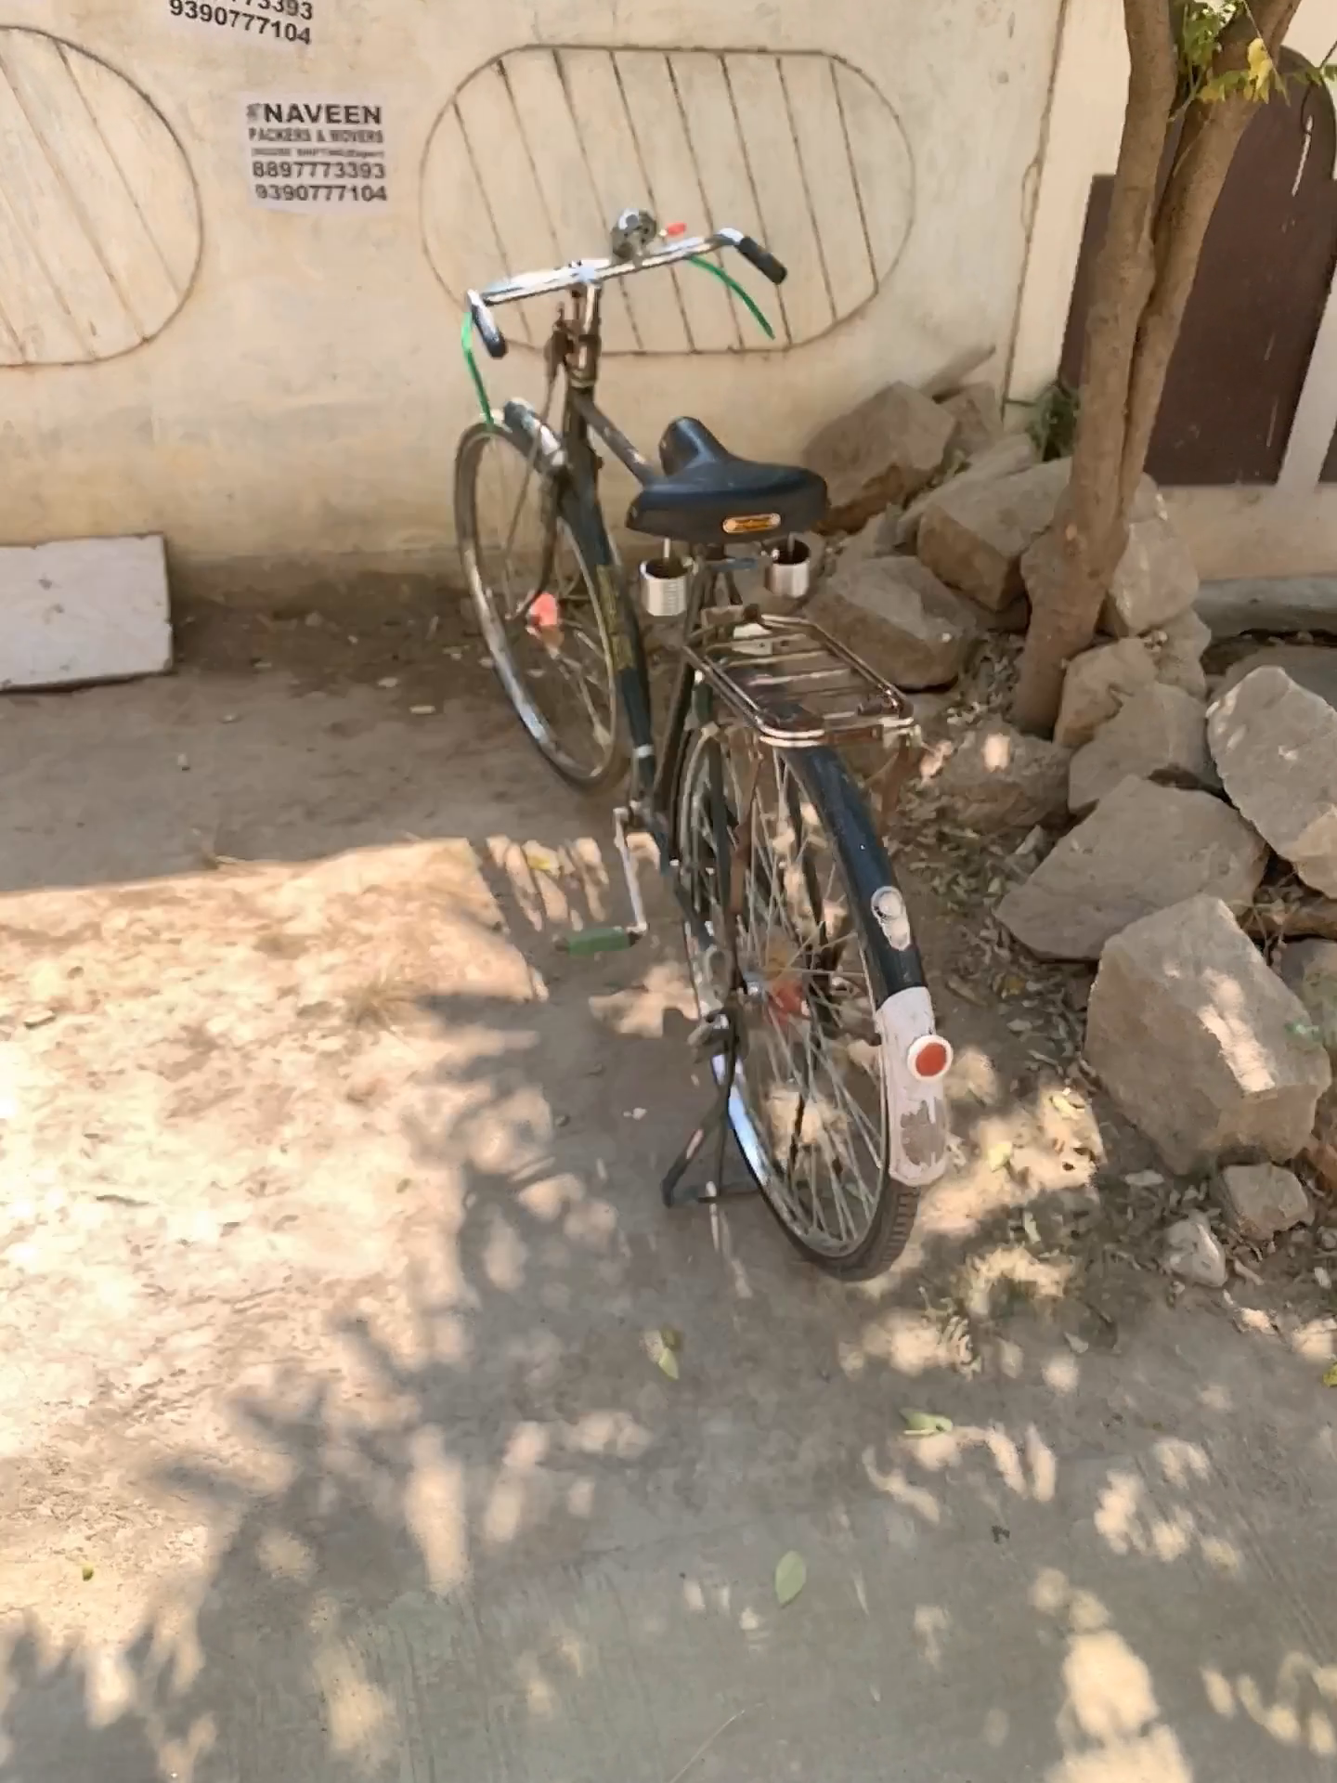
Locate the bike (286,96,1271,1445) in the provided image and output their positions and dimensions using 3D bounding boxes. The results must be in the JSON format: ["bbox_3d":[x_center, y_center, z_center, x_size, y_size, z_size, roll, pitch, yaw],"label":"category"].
[{"bbox_3d":[-0.071,-0.349,1.882,0.465,0.994,1.660,-11,40,-19],"label":"bike"}]
